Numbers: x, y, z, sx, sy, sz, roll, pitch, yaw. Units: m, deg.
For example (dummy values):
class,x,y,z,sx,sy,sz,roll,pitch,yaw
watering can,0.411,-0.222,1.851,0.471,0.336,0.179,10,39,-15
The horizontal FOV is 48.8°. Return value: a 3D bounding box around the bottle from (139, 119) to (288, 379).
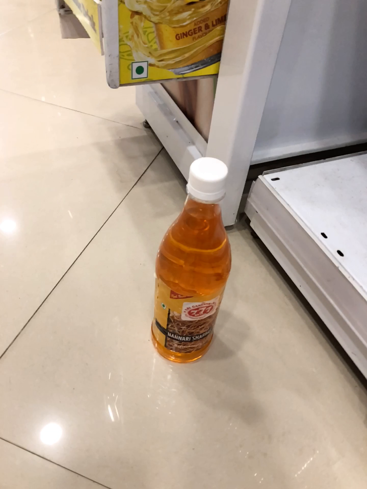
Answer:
class,x,y,z,sx,sy,sz,roll,pitch,yaw
bottle,0.008,0.025,0.441,0.100,0.298,0.101,4,46,-4
